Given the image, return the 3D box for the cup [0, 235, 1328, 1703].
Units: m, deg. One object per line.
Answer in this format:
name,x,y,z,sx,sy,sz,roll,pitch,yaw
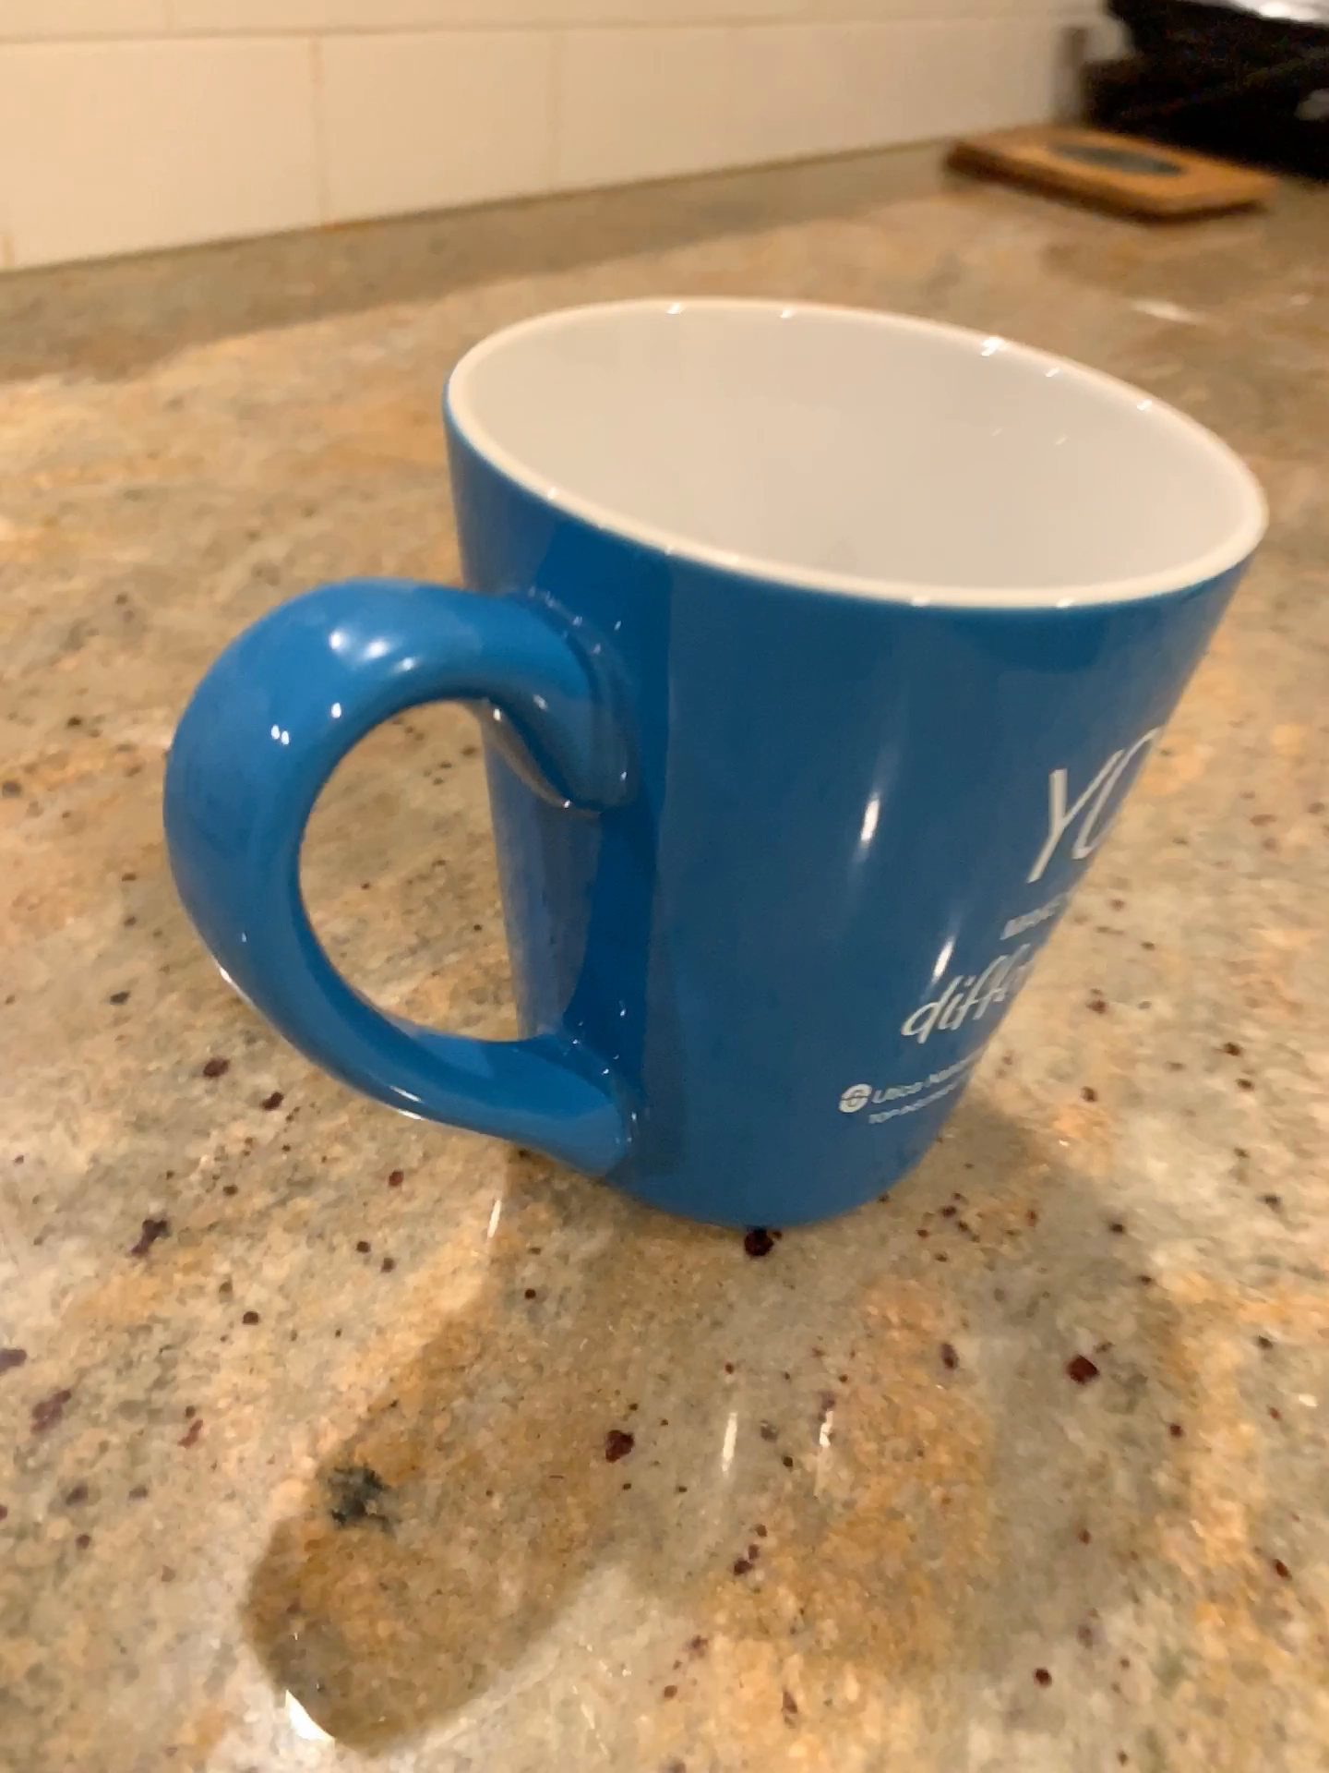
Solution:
cup,0.006,-0.009,0.179,0.099,0.098,0.138,27,42,23
